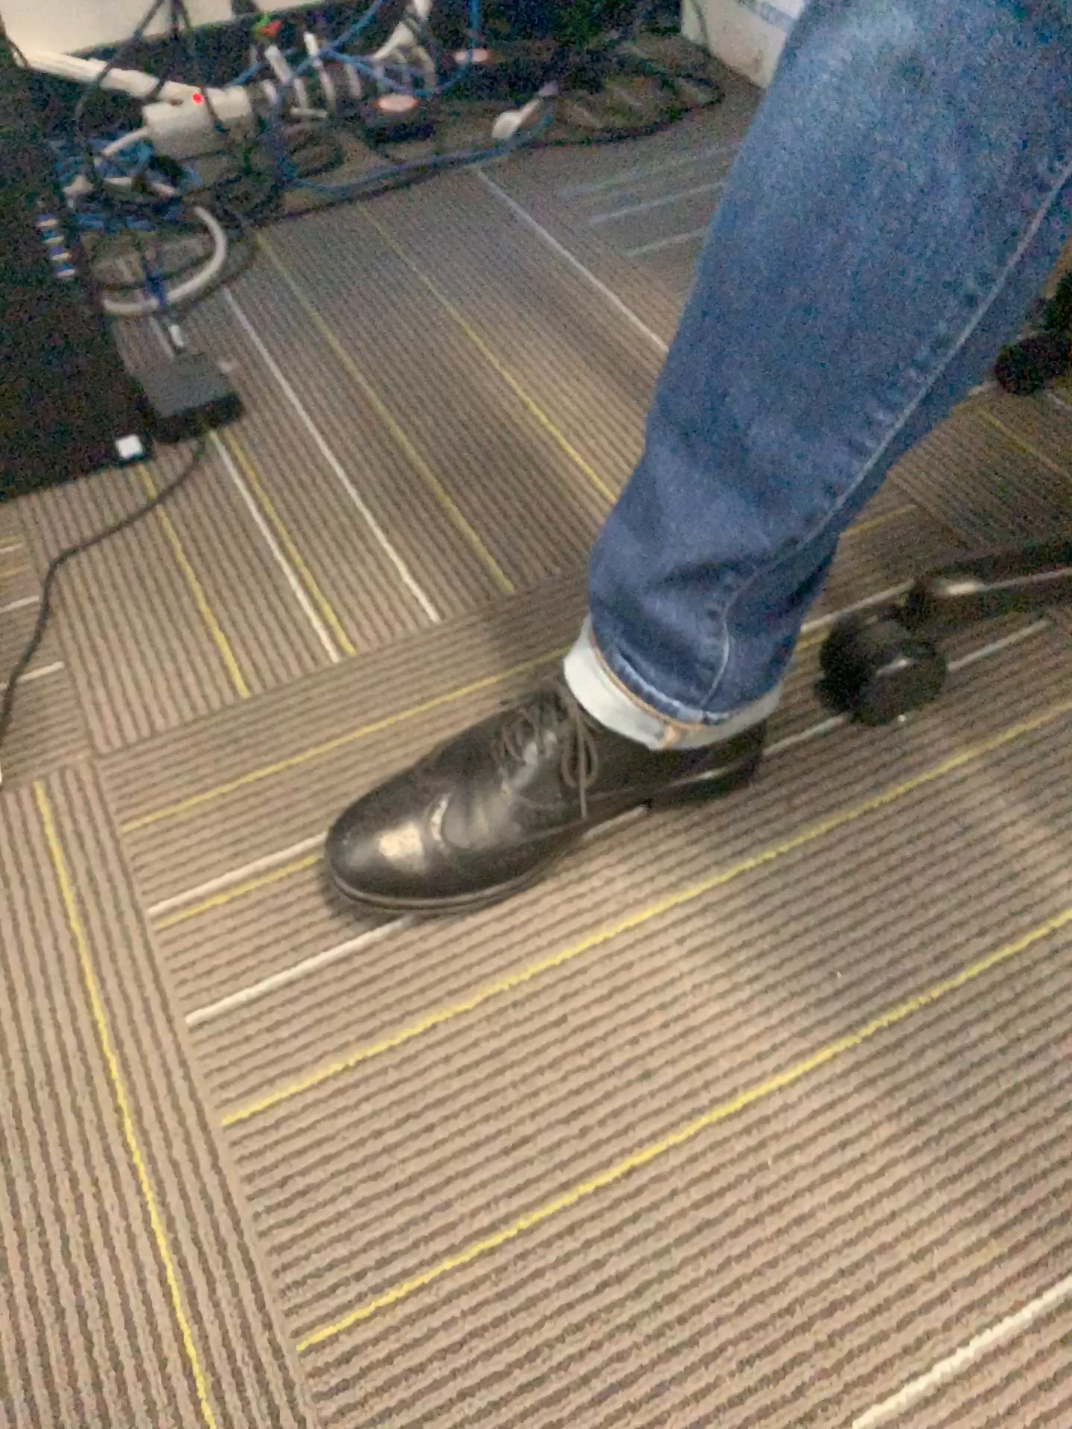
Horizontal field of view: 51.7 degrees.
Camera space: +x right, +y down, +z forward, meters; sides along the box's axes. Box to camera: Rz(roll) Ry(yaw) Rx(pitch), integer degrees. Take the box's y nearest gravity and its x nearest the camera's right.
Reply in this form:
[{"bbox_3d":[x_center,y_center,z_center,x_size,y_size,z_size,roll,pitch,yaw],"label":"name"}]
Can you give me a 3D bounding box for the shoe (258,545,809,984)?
[{"bbox_3d":[0.002,0.023,0.630,0.274,0.104,0.112,-24,54,-16],"label":"shoe"}]
